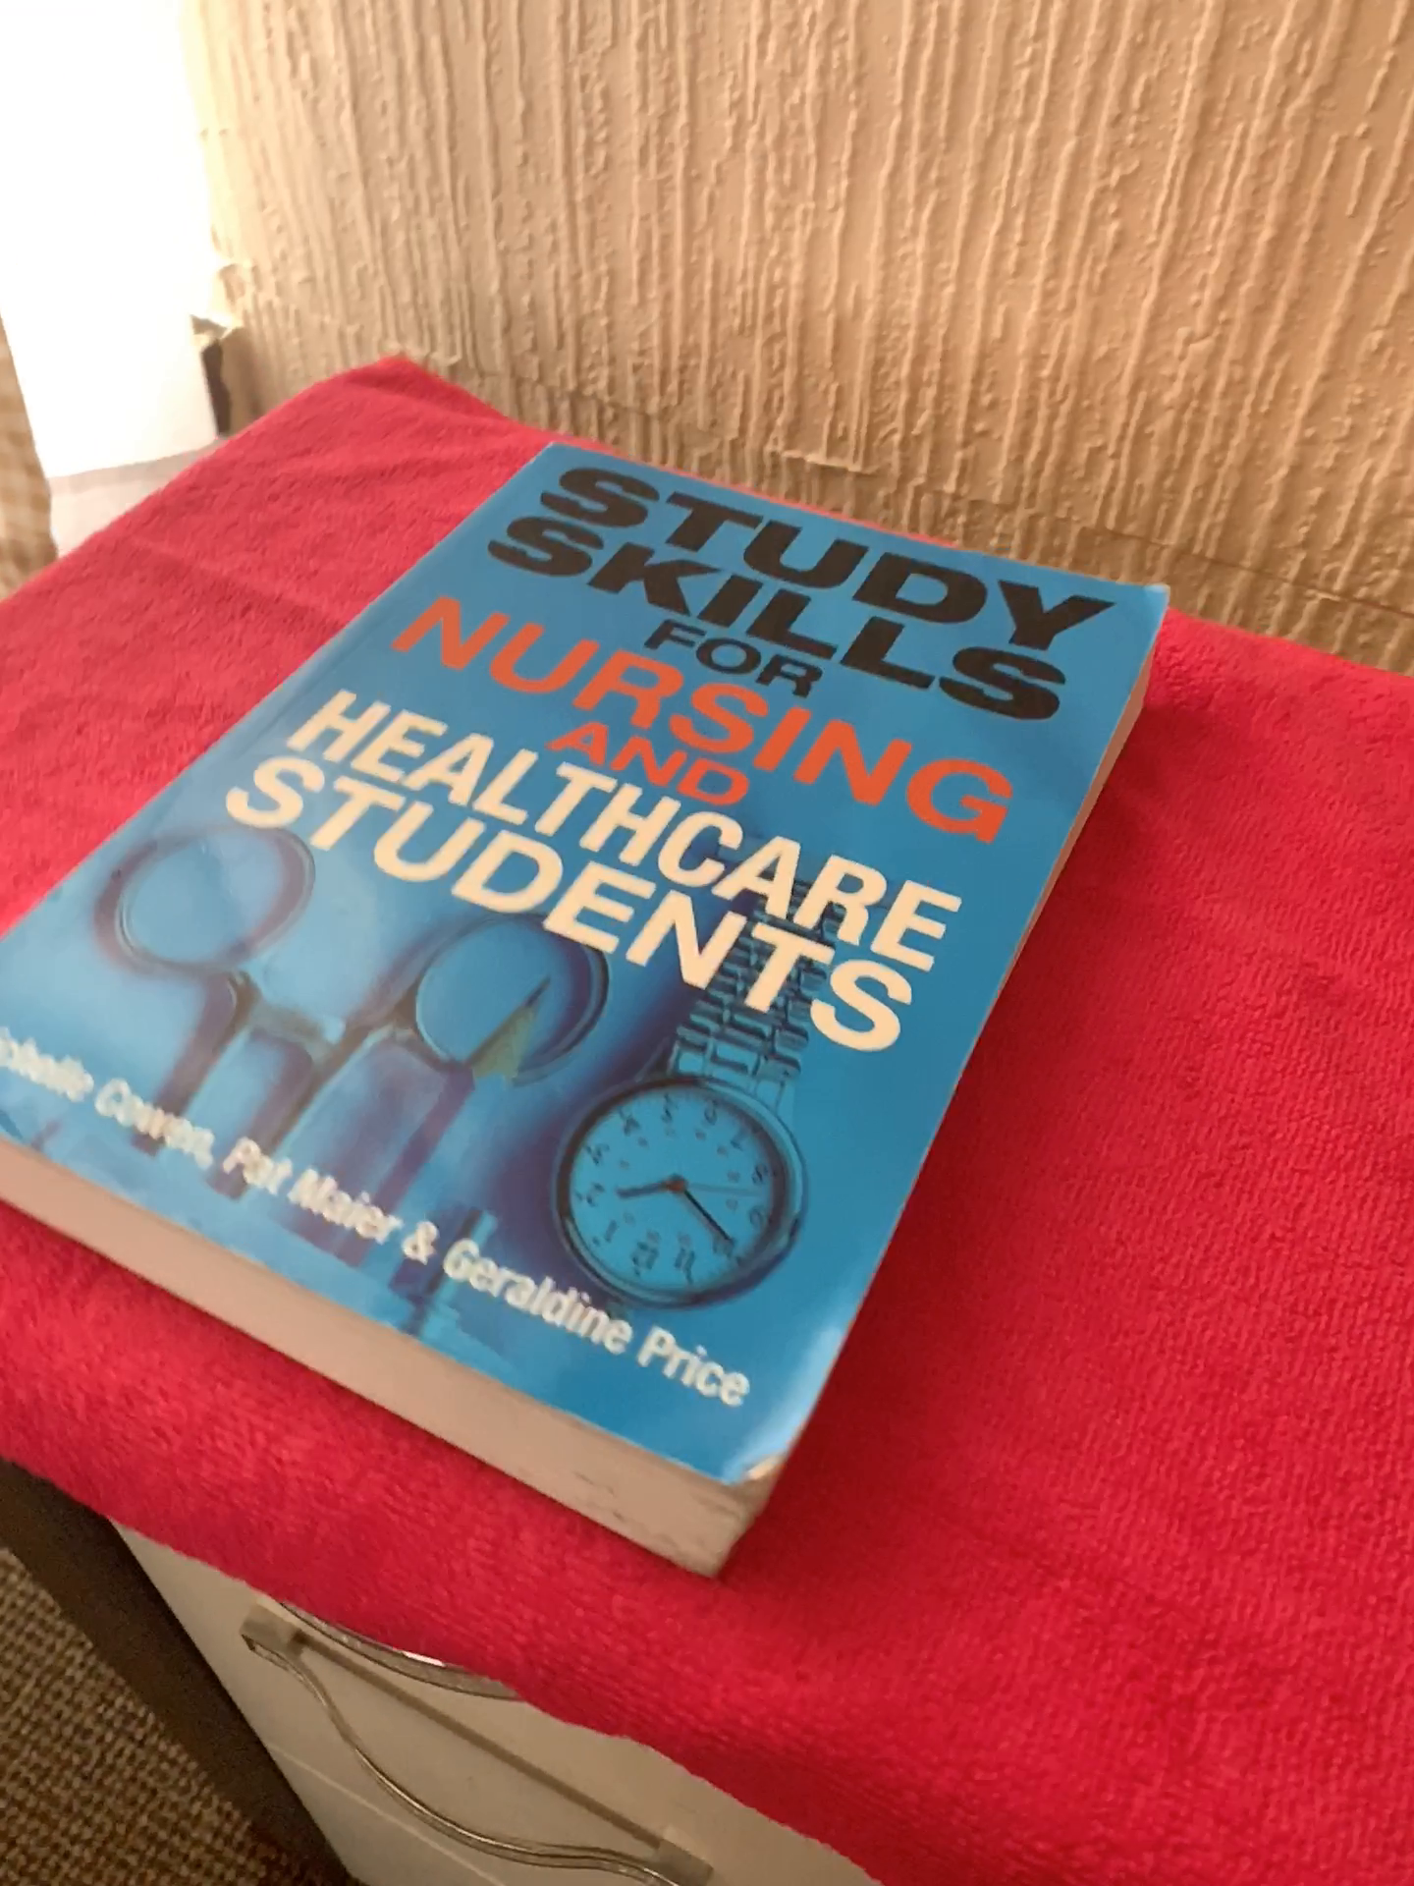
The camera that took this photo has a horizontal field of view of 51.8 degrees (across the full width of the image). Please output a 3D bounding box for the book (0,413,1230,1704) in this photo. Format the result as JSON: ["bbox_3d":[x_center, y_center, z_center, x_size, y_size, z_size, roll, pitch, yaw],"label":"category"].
[{"bbox_3d":[-0.016,-0.020,0.317,0.200,0.040,0.272,20,47,15],"label":"book"}]
